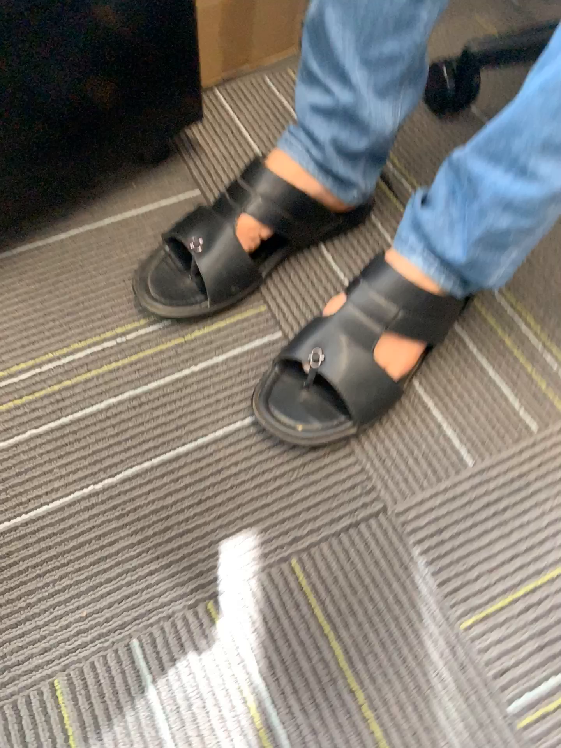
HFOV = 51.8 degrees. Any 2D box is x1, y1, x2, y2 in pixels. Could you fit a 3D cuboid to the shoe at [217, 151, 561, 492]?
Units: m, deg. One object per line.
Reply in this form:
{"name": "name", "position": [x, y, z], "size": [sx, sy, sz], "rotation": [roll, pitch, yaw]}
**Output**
{"name": "shoe", "position": [0.106, -0.055, 0.533], "size": [0.316, 0.116, 0.118], "rotation": [-39, 68, -20]}

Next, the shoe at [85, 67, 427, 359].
{"name": "shoe", "position": [-0.015, -0.171, 0.593], "size": [0.316, 0.116, 0.118], "rotation": [-36, 67, -19]}
